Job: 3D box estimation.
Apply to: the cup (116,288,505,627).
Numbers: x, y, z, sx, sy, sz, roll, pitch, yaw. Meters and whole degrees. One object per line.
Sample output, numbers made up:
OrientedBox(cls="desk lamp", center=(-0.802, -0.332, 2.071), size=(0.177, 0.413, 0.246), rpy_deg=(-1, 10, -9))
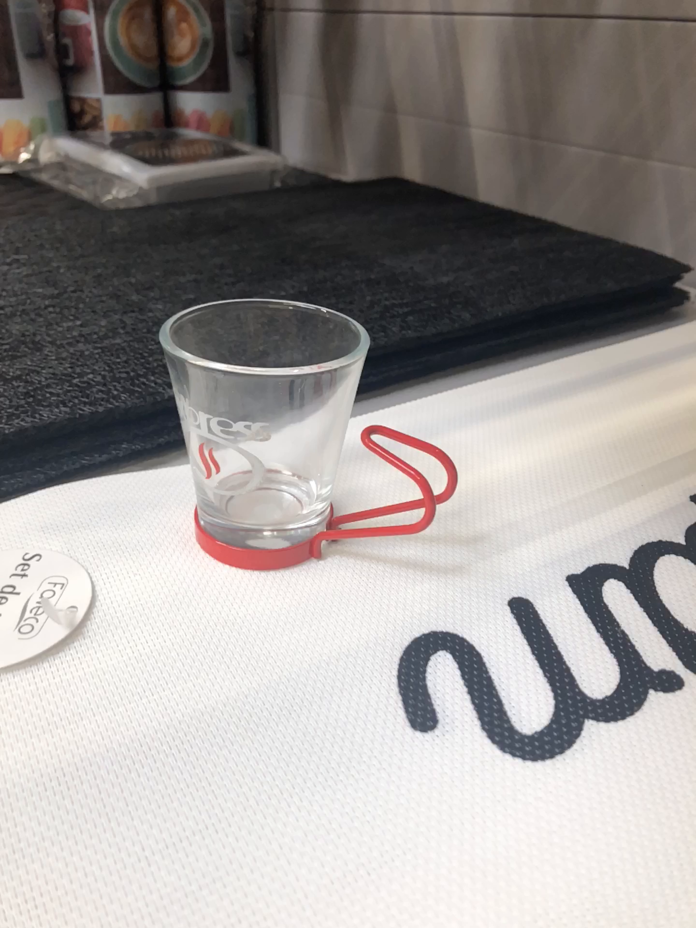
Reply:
OrientedBox(cls="cup", center=(-0.010, -0.007, 0.228), size=(0.092, 0.063, 0.056), rpy_deg=(14, 29, 18))
